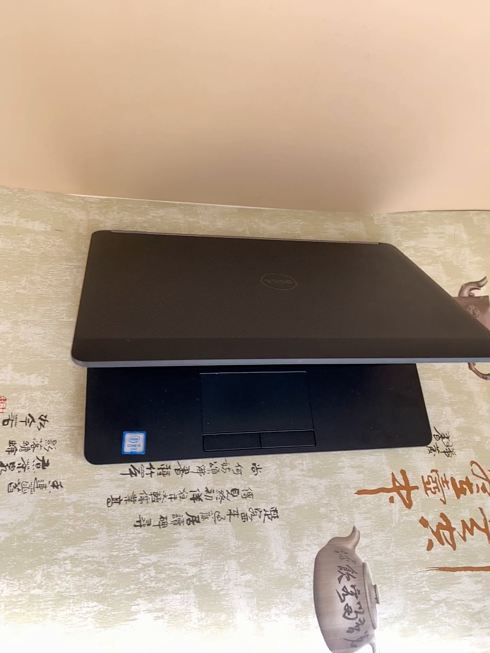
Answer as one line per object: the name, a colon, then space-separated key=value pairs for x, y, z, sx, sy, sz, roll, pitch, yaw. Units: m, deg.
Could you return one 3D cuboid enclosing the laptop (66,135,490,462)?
laptop: x=0.029 y=-0.014 z=0.414 sx=0.309 sy=0.136 sz=0.212 roll=0 pitch=67 yaw=-13
